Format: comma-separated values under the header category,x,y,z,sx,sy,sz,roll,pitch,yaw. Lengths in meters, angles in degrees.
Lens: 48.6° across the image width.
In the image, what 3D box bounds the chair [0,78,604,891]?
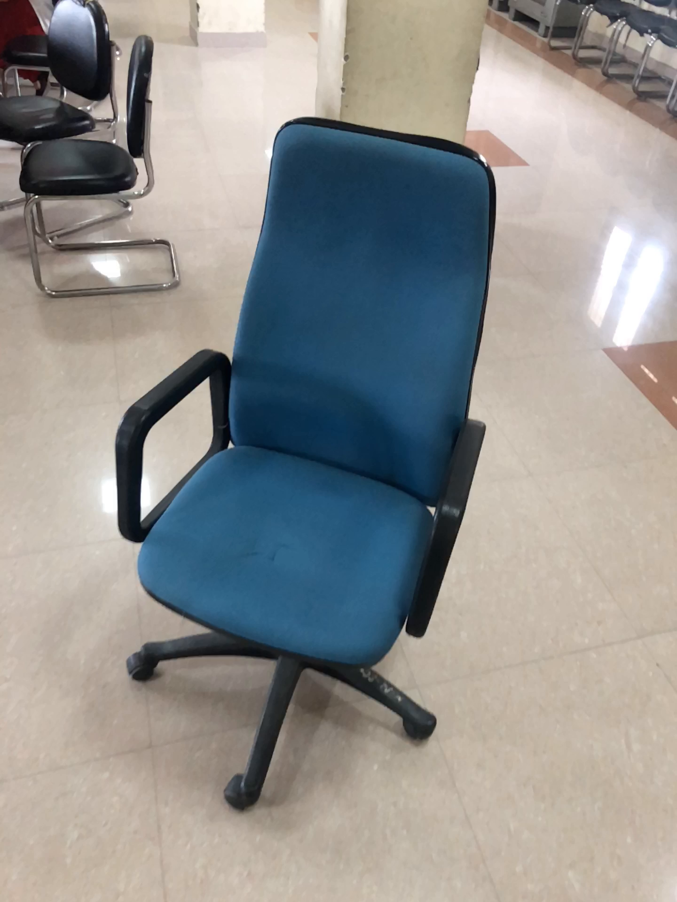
category,x,y,z,sx,sy,sz,roll,pitch,yaw
chair,-0.093,0.058,1.359,0.740,1.076,0.762,17,42,13
